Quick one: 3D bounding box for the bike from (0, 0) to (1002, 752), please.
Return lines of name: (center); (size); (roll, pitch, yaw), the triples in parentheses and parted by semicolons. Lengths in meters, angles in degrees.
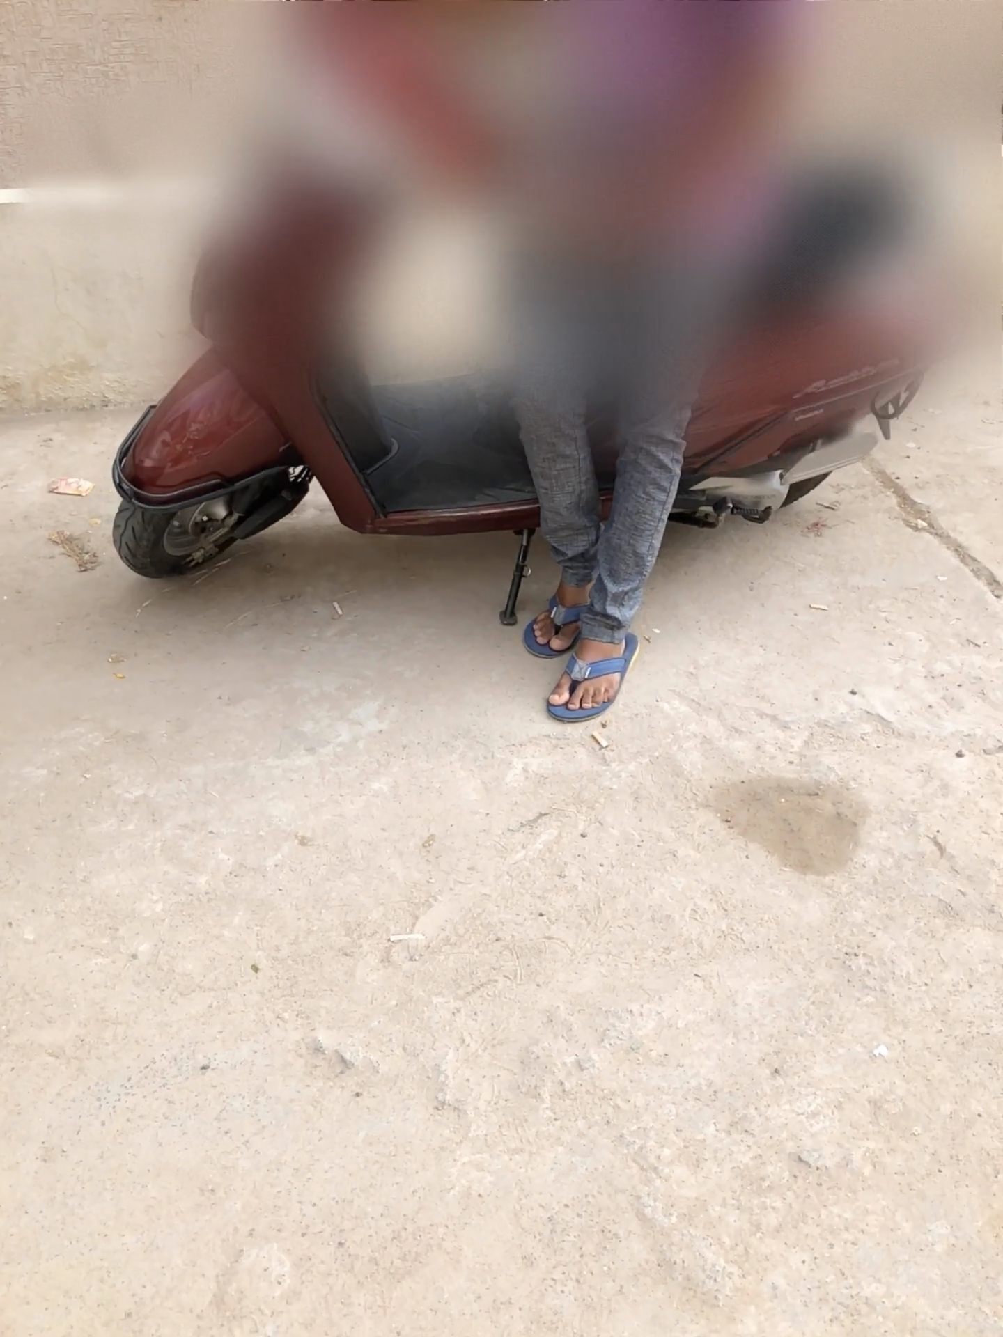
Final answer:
bike: (0.049, -0.605, 2.007); (1.579, 1.072, 0.632); (-10, 37, -14)
